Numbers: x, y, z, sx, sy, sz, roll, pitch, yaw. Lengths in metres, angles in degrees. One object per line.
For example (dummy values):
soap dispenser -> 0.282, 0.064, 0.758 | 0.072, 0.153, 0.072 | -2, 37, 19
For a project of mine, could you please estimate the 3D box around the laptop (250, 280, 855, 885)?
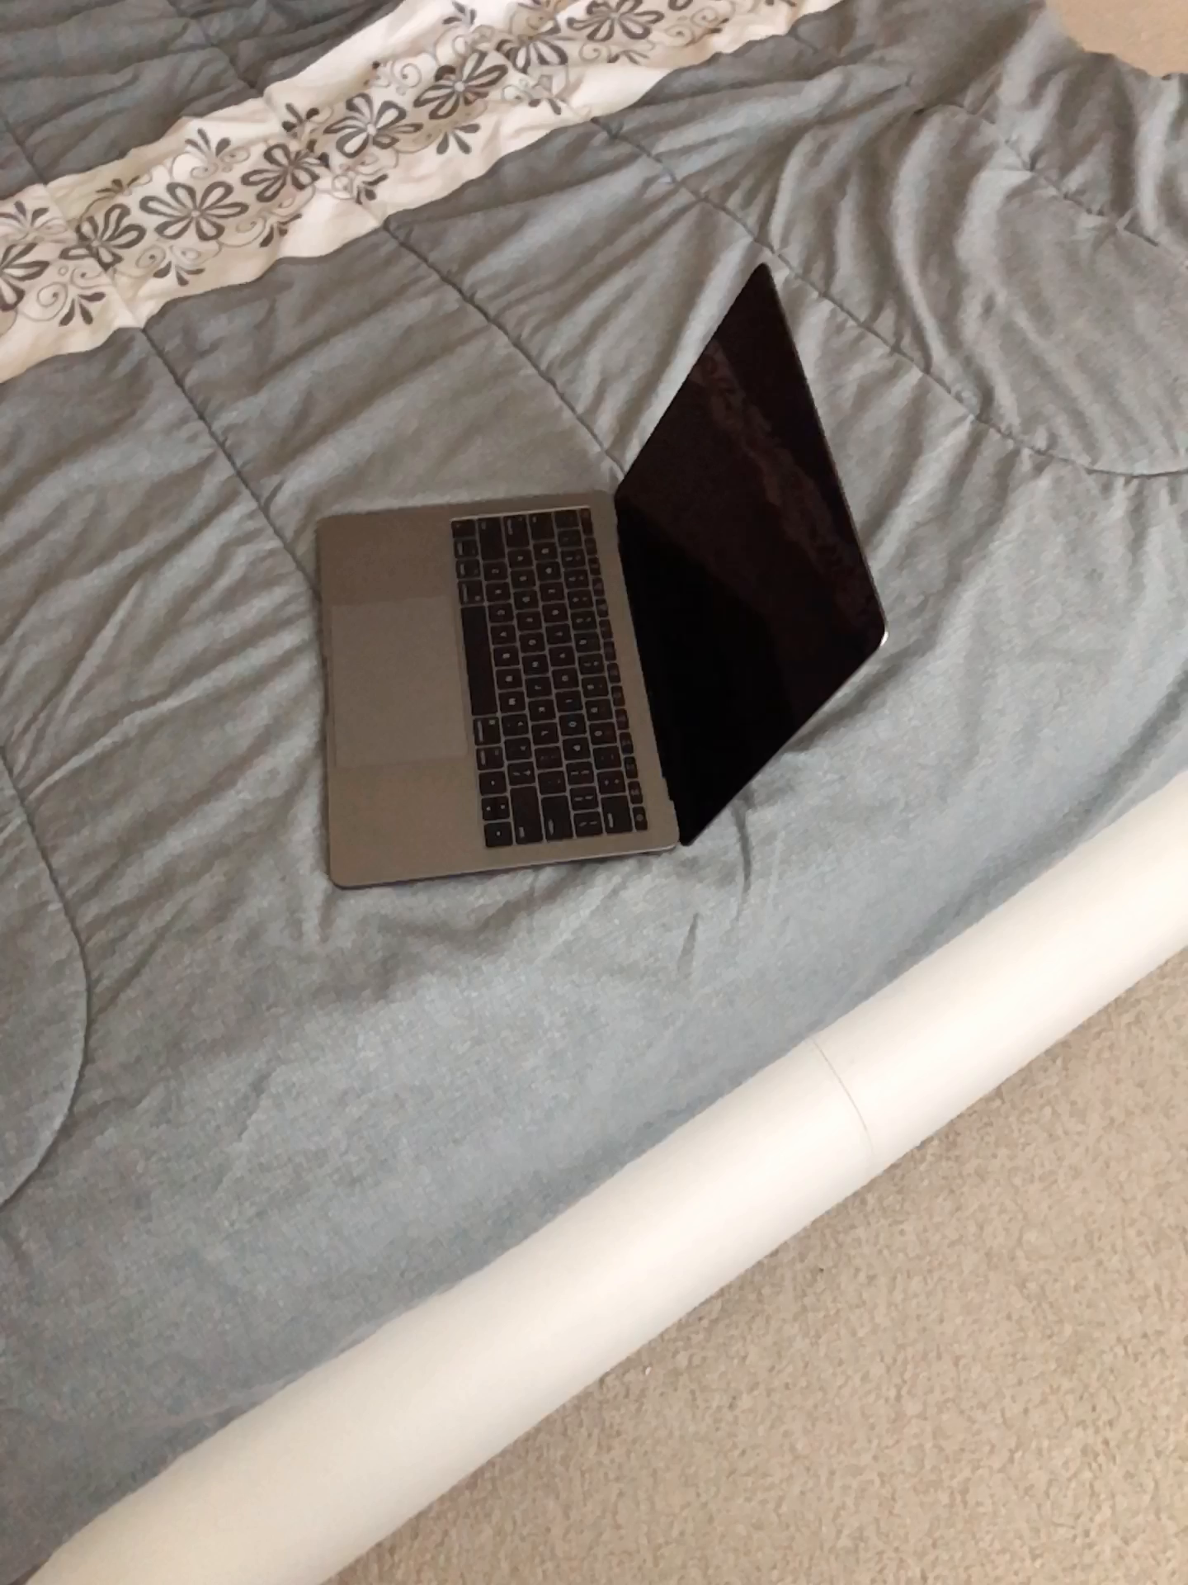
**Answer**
laptop -> -0.030, -0.124, 0.748 | 0.281, 0.159, 0.280 | -7, 57, -3
